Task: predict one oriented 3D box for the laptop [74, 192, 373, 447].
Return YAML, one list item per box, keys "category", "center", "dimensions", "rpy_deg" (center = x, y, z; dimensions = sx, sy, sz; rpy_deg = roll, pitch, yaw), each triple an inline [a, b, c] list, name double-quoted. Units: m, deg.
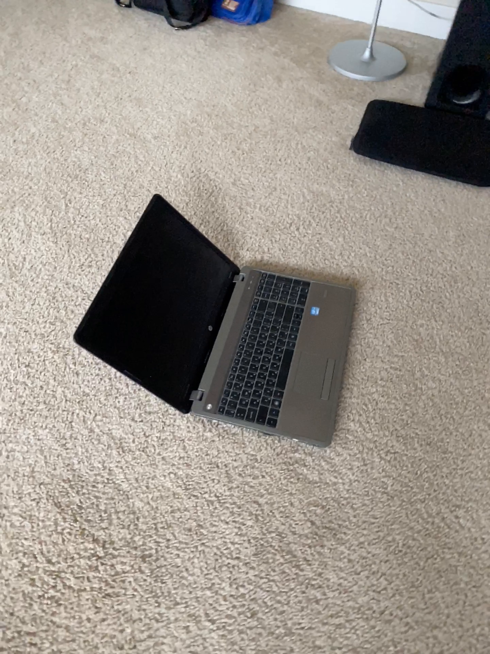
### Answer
- category: "laptop"
  center: [-0.016, -0.034, 0.933]
  dimensions: [0.435, 0.162, 0.376]
  rpy_deg: [13, 54, 8]
